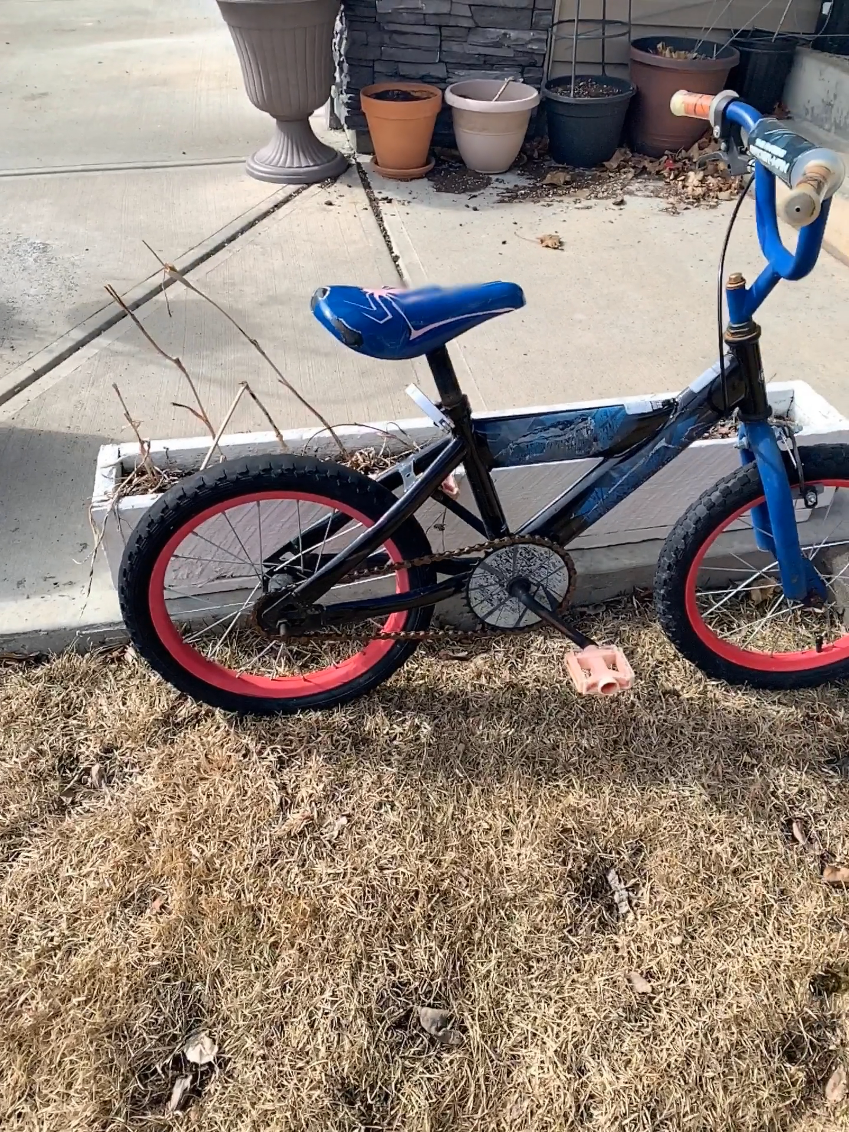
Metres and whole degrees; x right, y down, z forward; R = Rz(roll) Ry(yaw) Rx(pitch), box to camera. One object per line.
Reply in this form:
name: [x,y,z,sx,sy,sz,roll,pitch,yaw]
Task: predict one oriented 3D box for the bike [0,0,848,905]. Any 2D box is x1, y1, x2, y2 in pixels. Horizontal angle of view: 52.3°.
bike: [0.169,-0.122,0.894,1.023,0.728,0.538,-3,41,-2]
